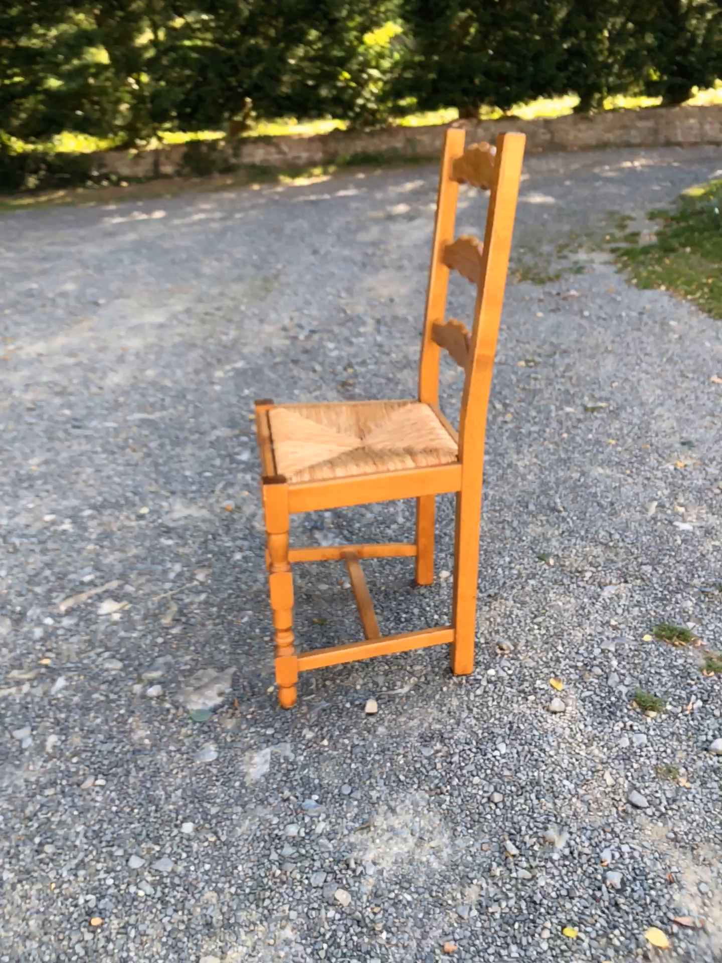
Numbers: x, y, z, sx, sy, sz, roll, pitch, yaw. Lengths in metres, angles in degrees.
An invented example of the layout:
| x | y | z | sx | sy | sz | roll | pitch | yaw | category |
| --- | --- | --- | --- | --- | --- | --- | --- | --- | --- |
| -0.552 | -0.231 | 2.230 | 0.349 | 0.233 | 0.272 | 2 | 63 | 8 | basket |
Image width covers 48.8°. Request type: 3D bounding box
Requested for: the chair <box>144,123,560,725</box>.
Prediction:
| x | y | z | sx | sy | sz | roll | pitch | yaw | category |
| --- | --- | --- | --- | --- | --- | --- | --- | --- | --- |
| -0.032 | -0.135 | 1.407 | 0.520 | 0.885 | 0.532 | -5 | 25 | -8 | chair |
